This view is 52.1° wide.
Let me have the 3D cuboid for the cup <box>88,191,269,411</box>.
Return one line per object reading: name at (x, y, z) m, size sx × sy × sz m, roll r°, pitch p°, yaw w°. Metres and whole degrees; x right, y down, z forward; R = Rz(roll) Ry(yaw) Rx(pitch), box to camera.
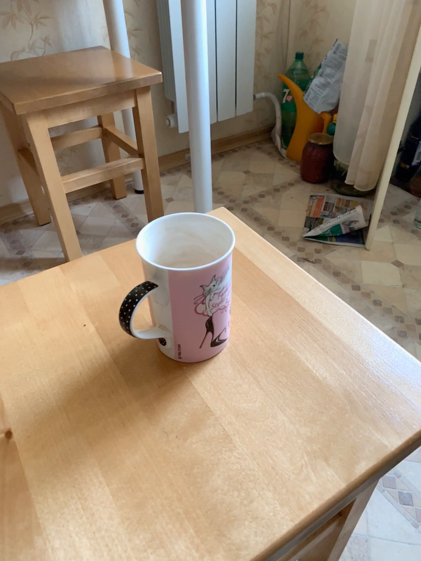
cup at (-0.017, 0.011, 0.337) m, size 0.074 × 0.107 × 0.114 m, roll 22°, pitch 45°, yaw 25°
